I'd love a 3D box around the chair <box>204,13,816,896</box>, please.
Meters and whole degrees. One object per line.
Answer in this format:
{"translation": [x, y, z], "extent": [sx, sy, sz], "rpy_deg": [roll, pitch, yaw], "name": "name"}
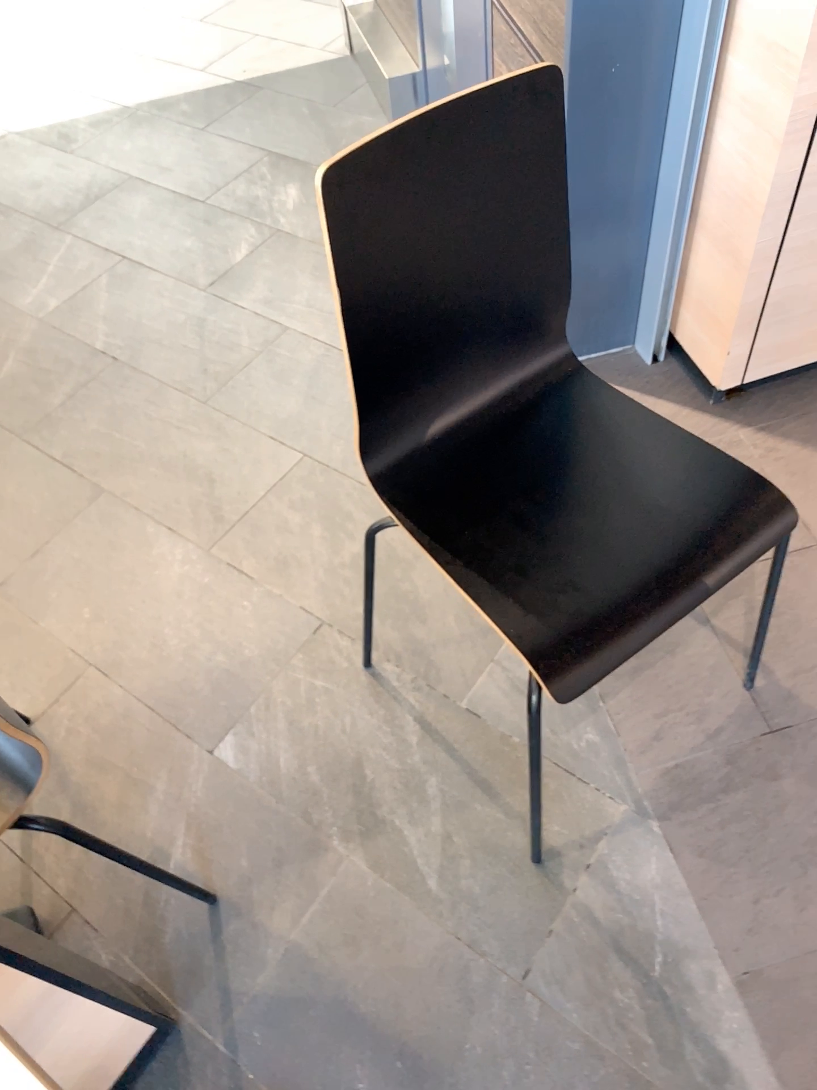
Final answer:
{"translation": [0.207, -0.051, 1.058], "extent": [0.520, 0.837, 0.522], "rpy_deg": [-32, 56, -17], "name": "chair"}
